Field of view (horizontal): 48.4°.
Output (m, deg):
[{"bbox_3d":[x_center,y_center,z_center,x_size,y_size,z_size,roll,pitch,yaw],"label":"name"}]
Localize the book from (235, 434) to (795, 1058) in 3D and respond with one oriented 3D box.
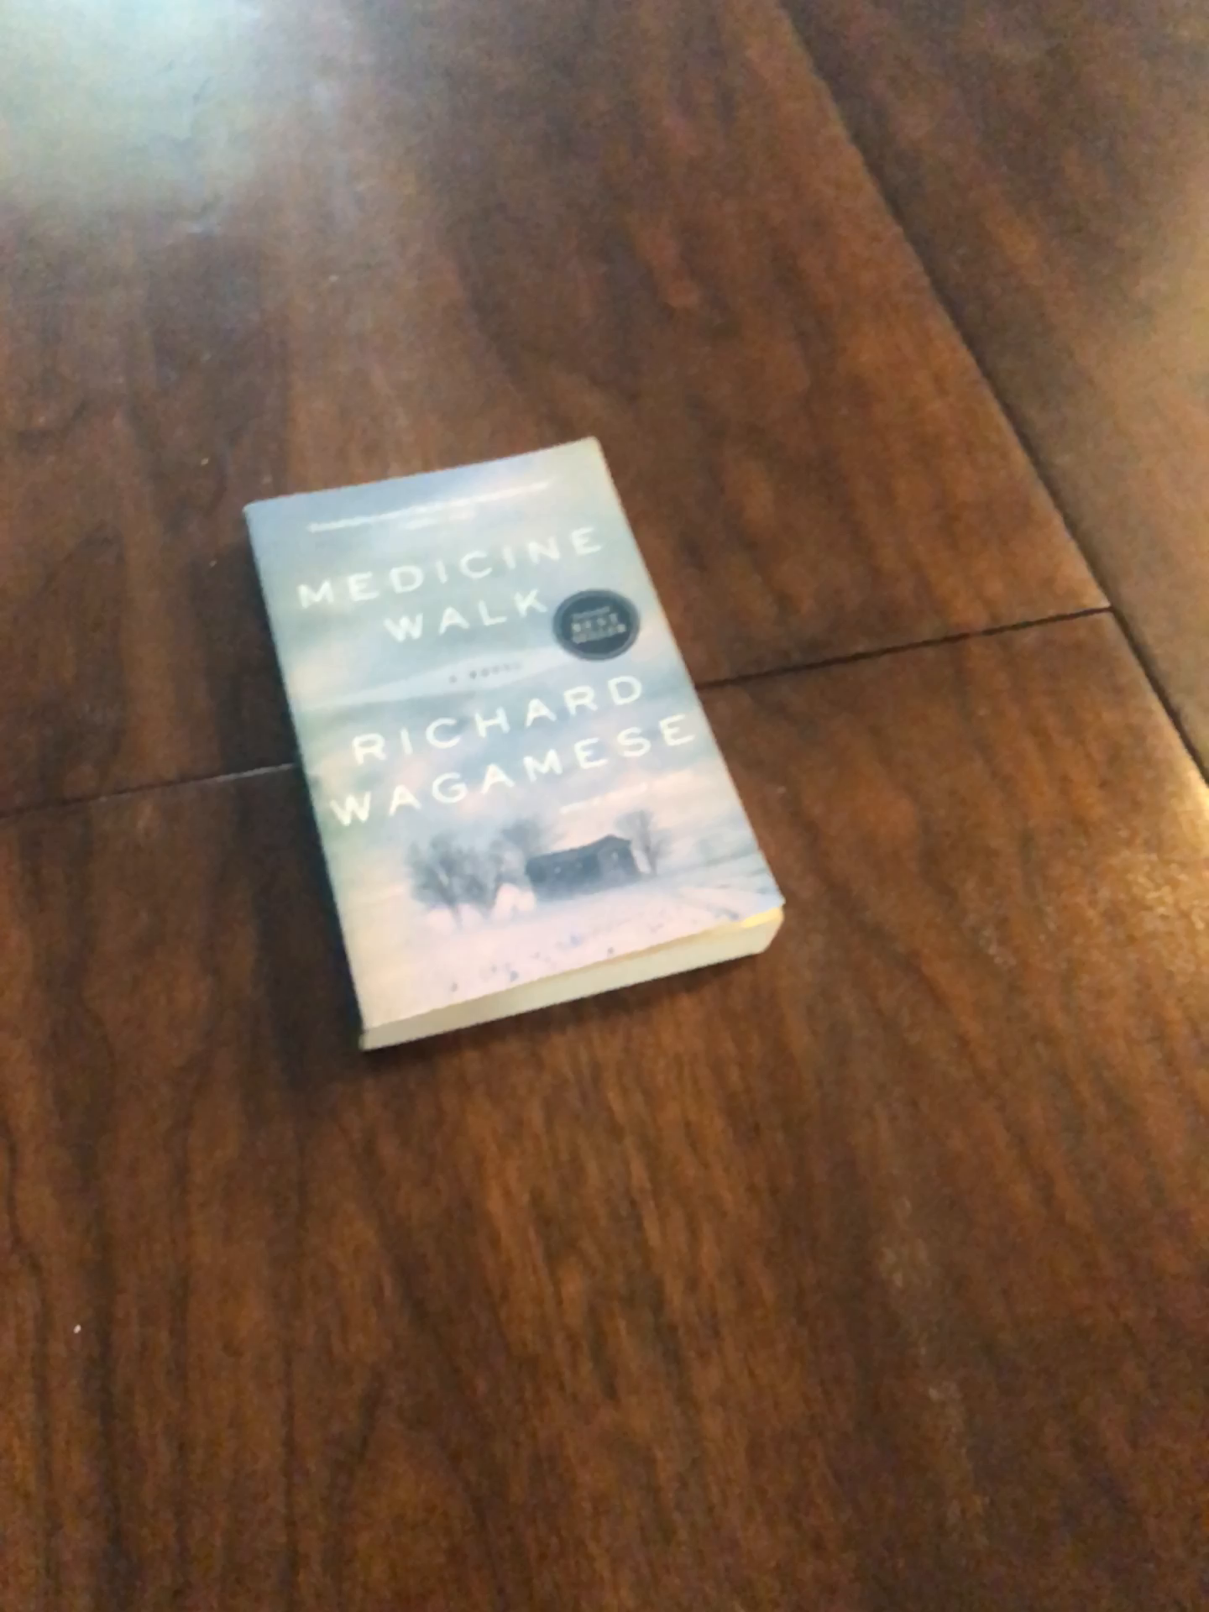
[{"bbox_3d":[-0.038,-0.032,0.459,0.138,0.027,0.206,-13,63,-11],"label":"book"}]
